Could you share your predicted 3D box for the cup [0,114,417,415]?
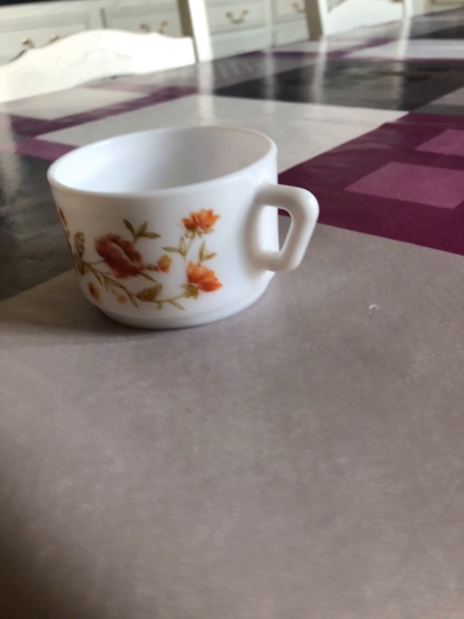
[{"bbox_3d":[-0.010,-0.028,0.175,0.110,0.050,0.080,20,39,35],"label":"cup"}]
